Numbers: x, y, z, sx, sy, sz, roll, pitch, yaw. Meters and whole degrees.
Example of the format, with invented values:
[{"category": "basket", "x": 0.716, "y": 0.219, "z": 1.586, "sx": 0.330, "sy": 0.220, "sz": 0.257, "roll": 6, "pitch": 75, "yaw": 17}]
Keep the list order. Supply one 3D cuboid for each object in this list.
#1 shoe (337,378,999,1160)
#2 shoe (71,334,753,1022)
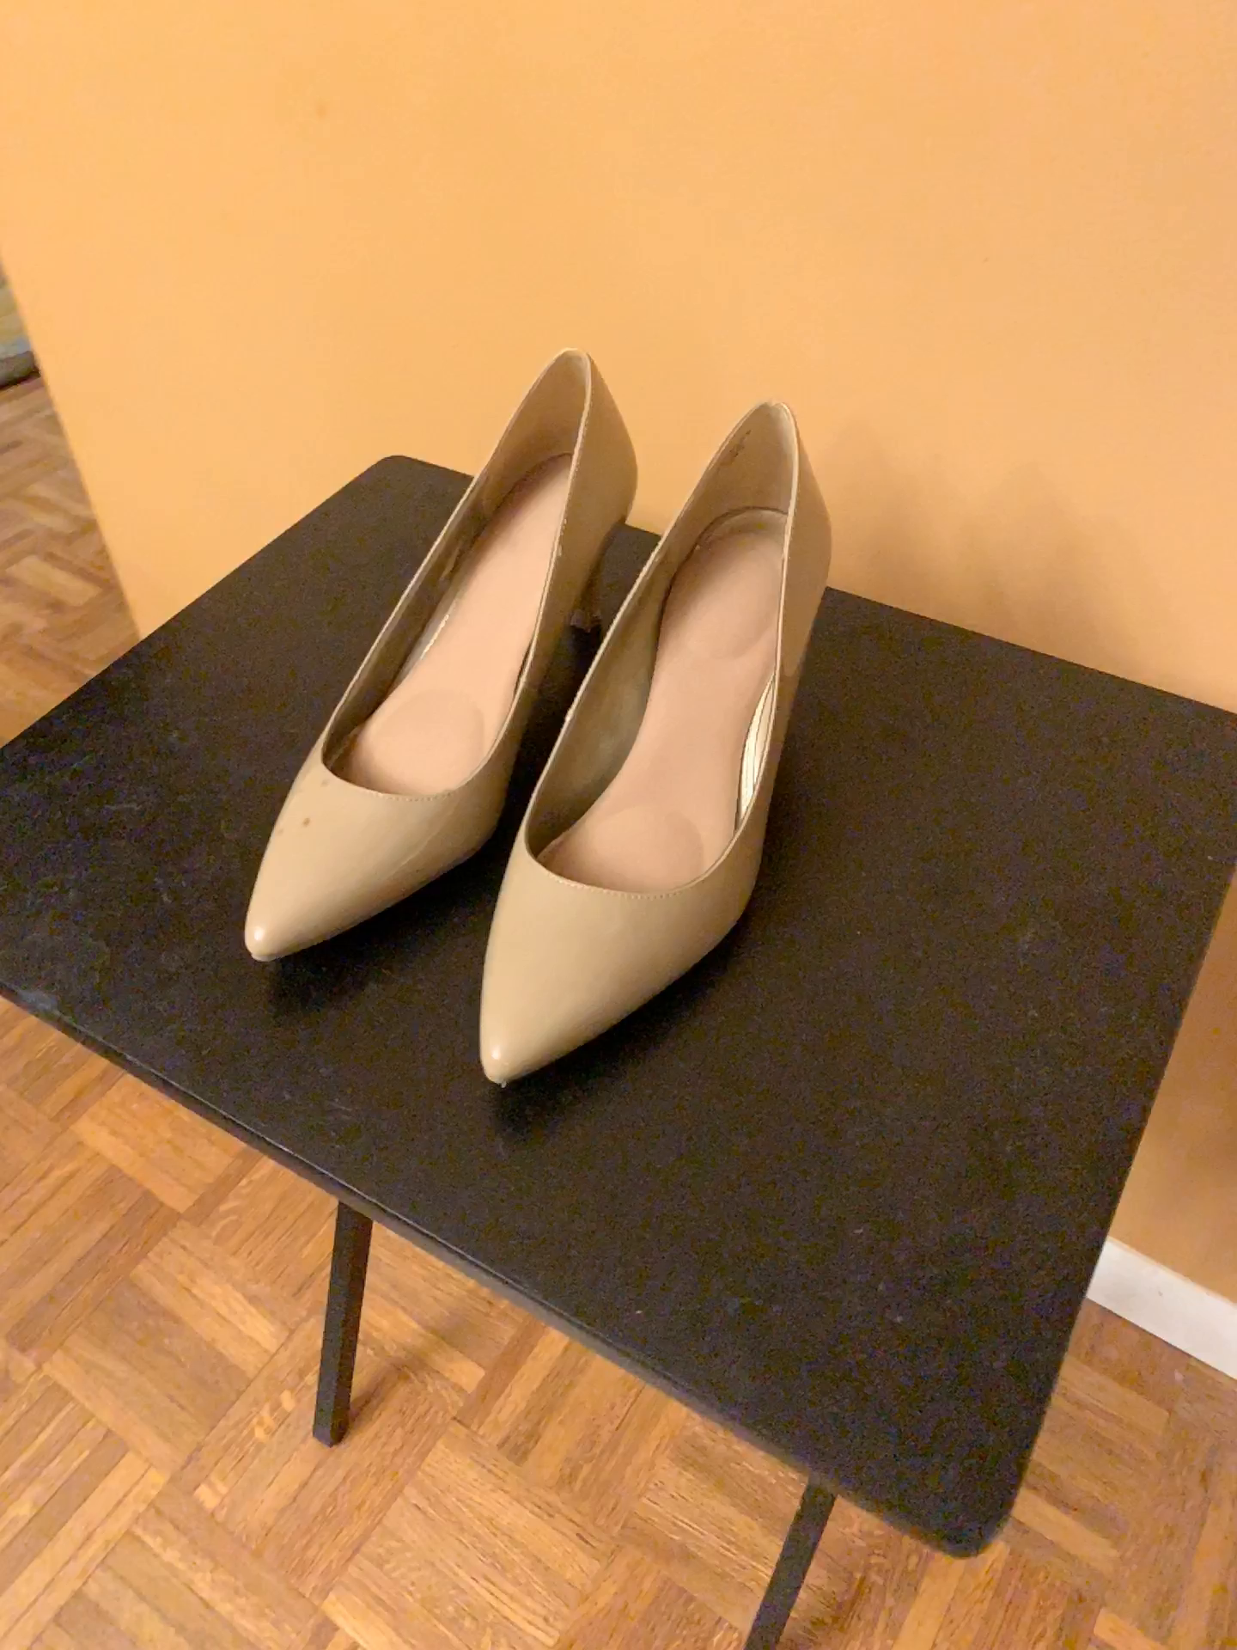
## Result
[{"category": "shoe", "x": 0.037, "y": -0.043, "z": 0.459, "sx": 0.100, "sy": 0.090, "sz": 0.301, "roll": 20, "pitch": 50, "yaw": 20}, {"category": "shoe", "x": -0.055, "y": -0.078, "z": 0.502, "sx": 0.100, "sy": 0.090, "sz": 0.301, "roll": 20, "pitch": 50, "yaw": 20}]
